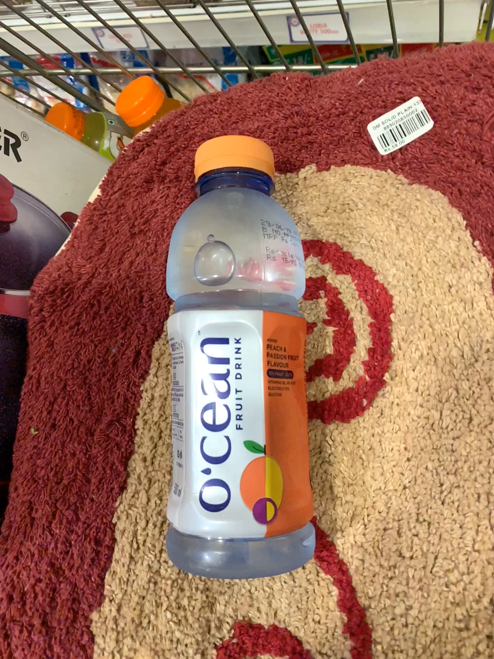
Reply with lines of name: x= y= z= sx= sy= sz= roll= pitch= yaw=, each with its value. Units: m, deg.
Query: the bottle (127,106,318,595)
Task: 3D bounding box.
bottle: x=-0.007 y=0.008 z=0.224 sx=0.070 sy=0.060 sz=0.180 roll=-1 pitch=88 yaw=12
